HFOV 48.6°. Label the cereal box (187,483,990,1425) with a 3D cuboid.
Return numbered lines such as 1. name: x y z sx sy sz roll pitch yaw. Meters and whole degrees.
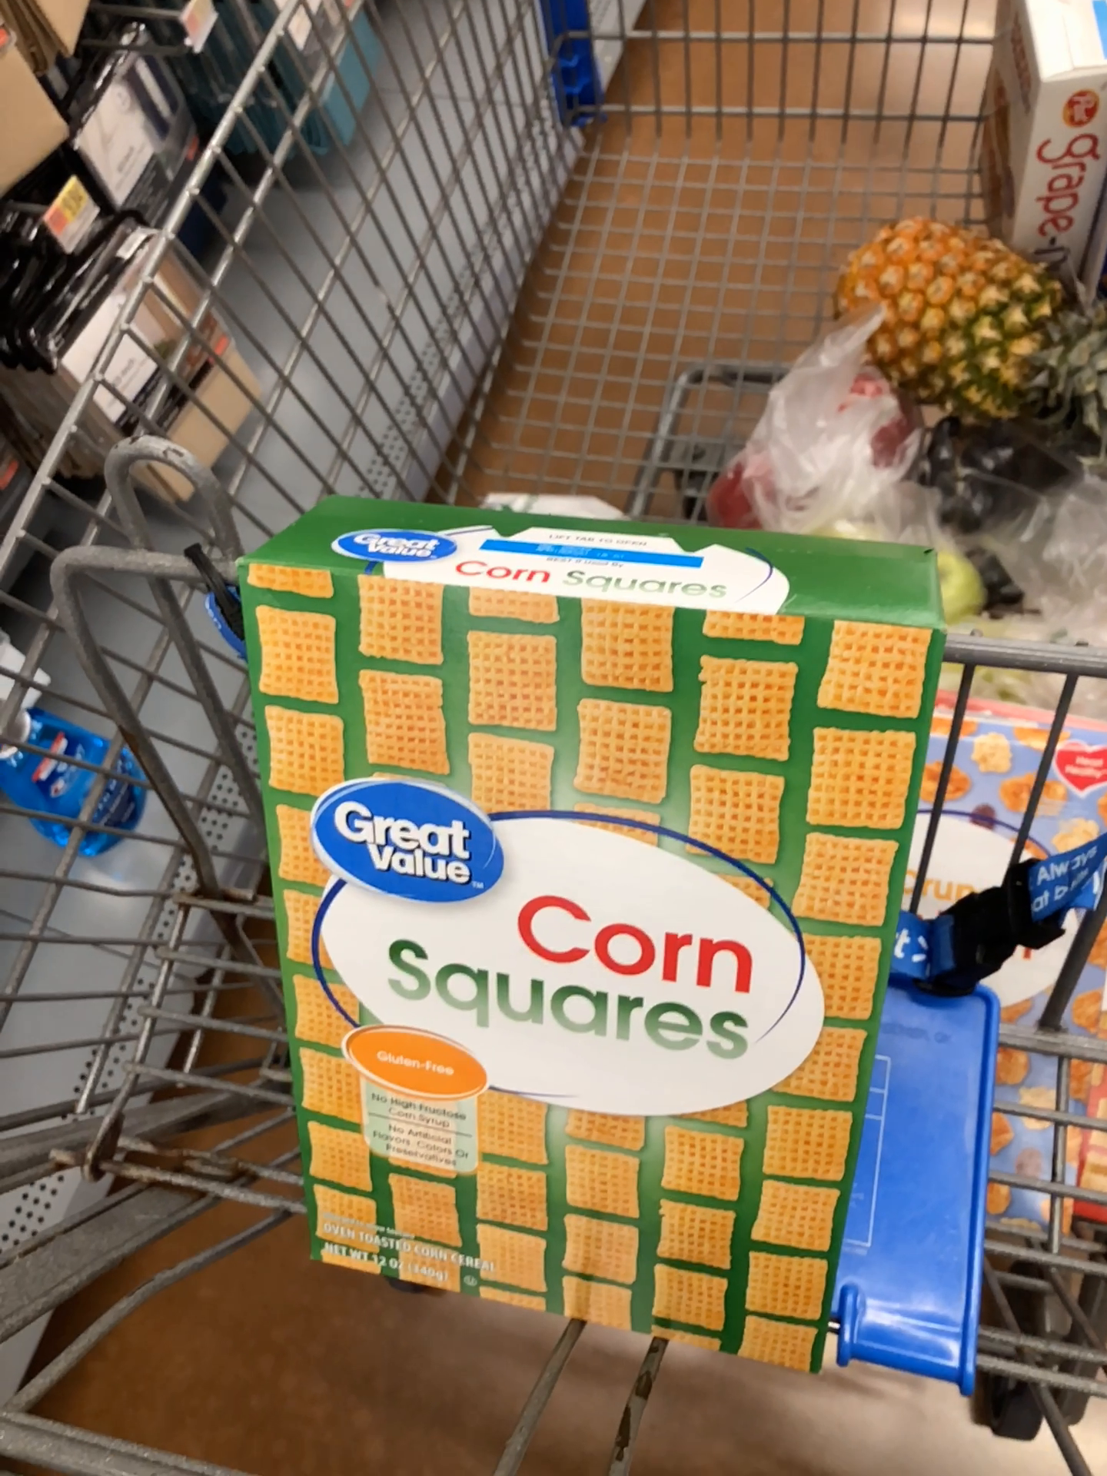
1. cereal box: 0.009 0.072 0.391 0.200 0.280 0.070 7 27 13
